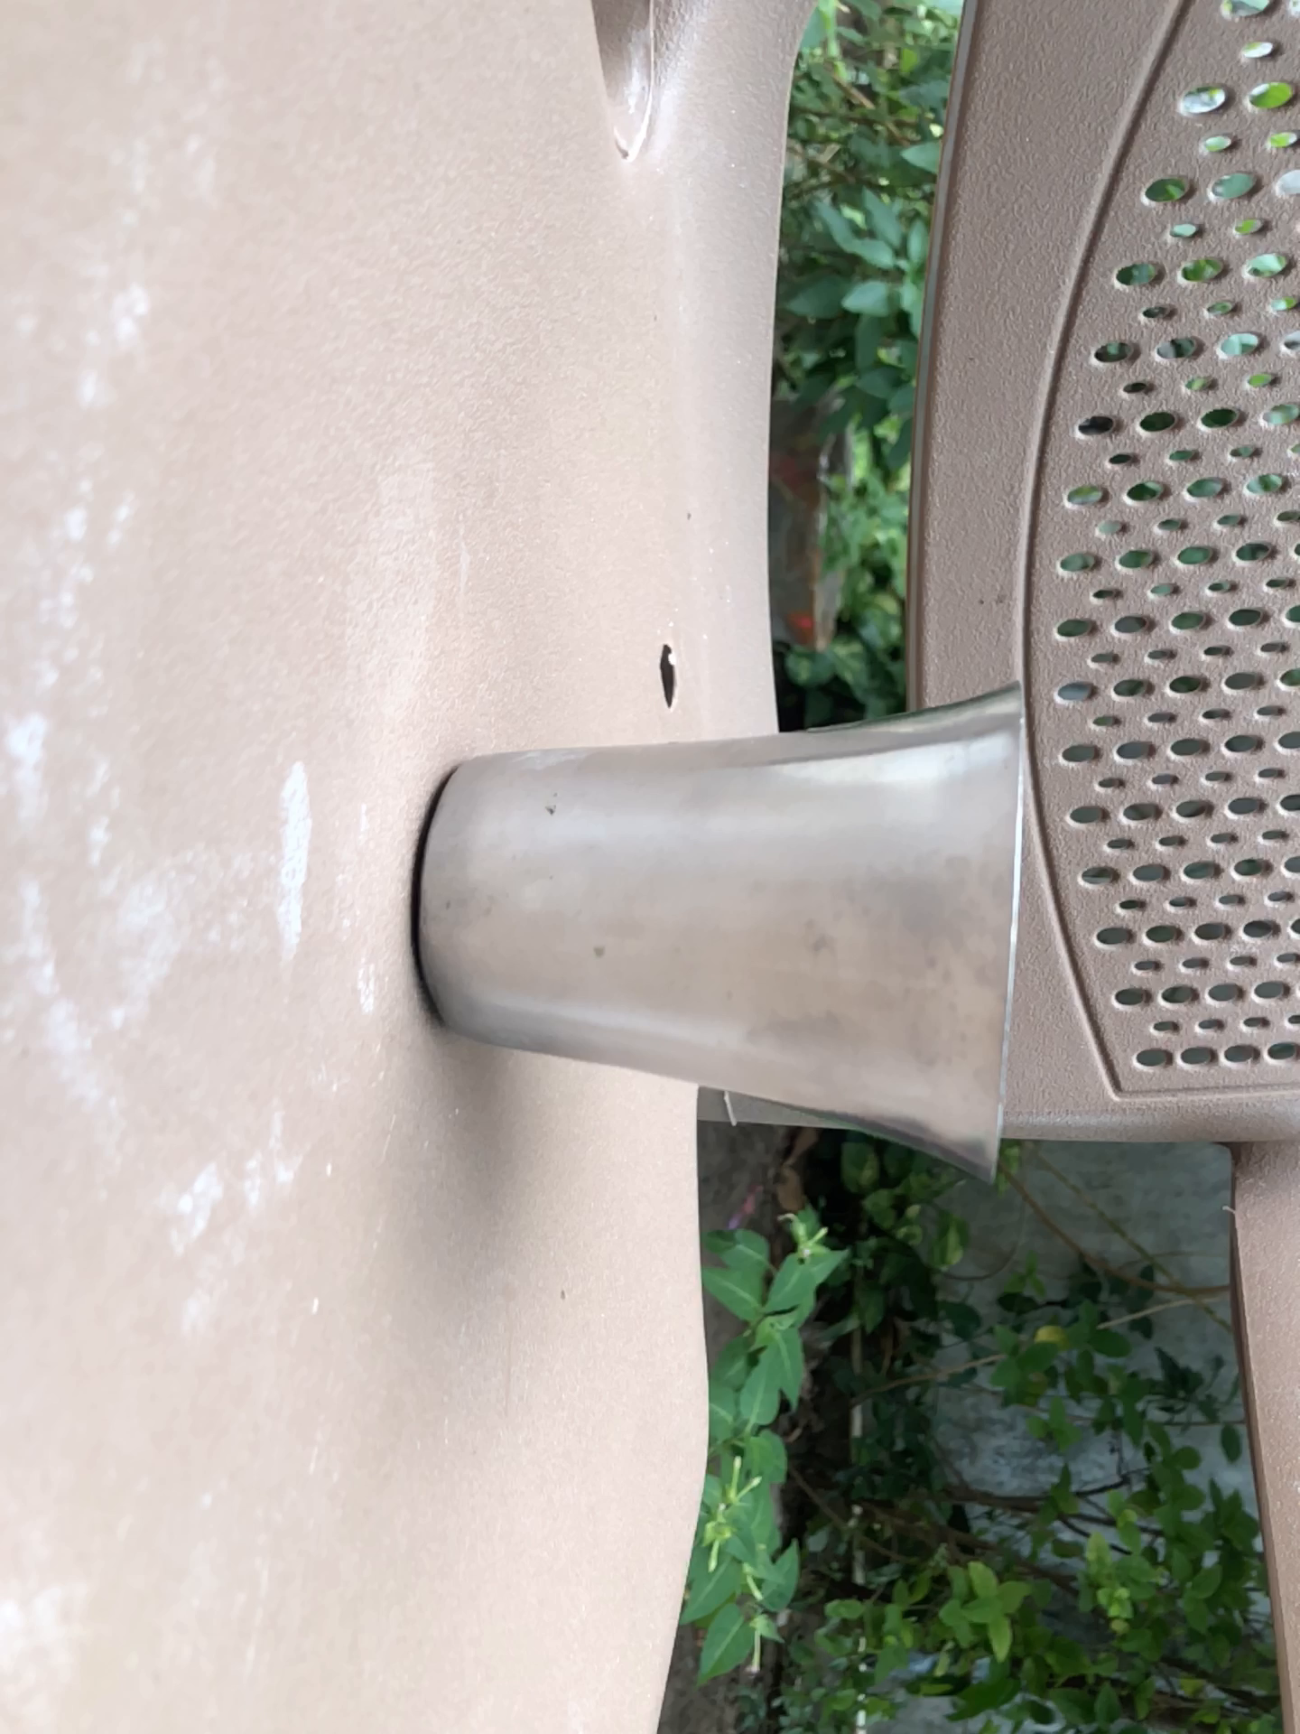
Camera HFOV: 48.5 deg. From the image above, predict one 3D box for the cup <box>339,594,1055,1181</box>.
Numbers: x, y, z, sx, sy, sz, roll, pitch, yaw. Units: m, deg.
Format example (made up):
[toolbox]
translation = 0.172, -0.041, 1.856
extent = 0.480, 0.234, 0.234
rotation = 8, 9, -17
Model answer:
[cup]
translation = 0.015, 0.006, 0.248
extent = 0.070, 0.099, 0.080
rotation = 44, 52, -70
